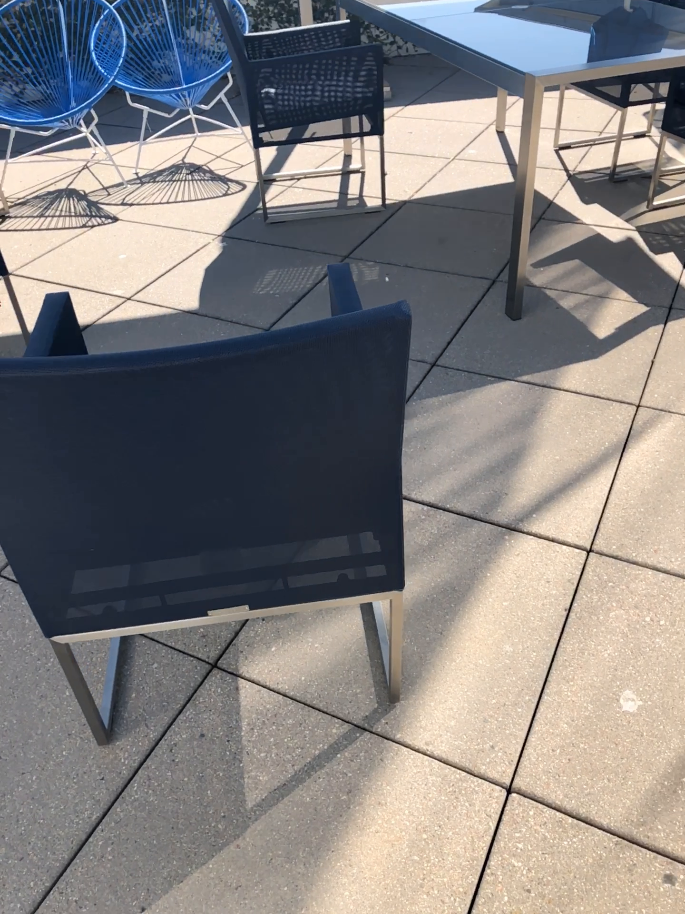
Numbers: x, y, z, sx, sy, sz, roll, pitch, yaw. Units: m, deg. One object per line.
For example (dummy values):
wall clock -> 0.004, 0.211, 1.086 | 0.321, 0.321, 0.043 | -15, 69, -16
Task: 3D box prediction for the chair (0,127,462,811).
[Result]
chair -> -0.227, -0.002, 1.215 | 0.650, 0.776, 0.674 | -7, 38, -4
